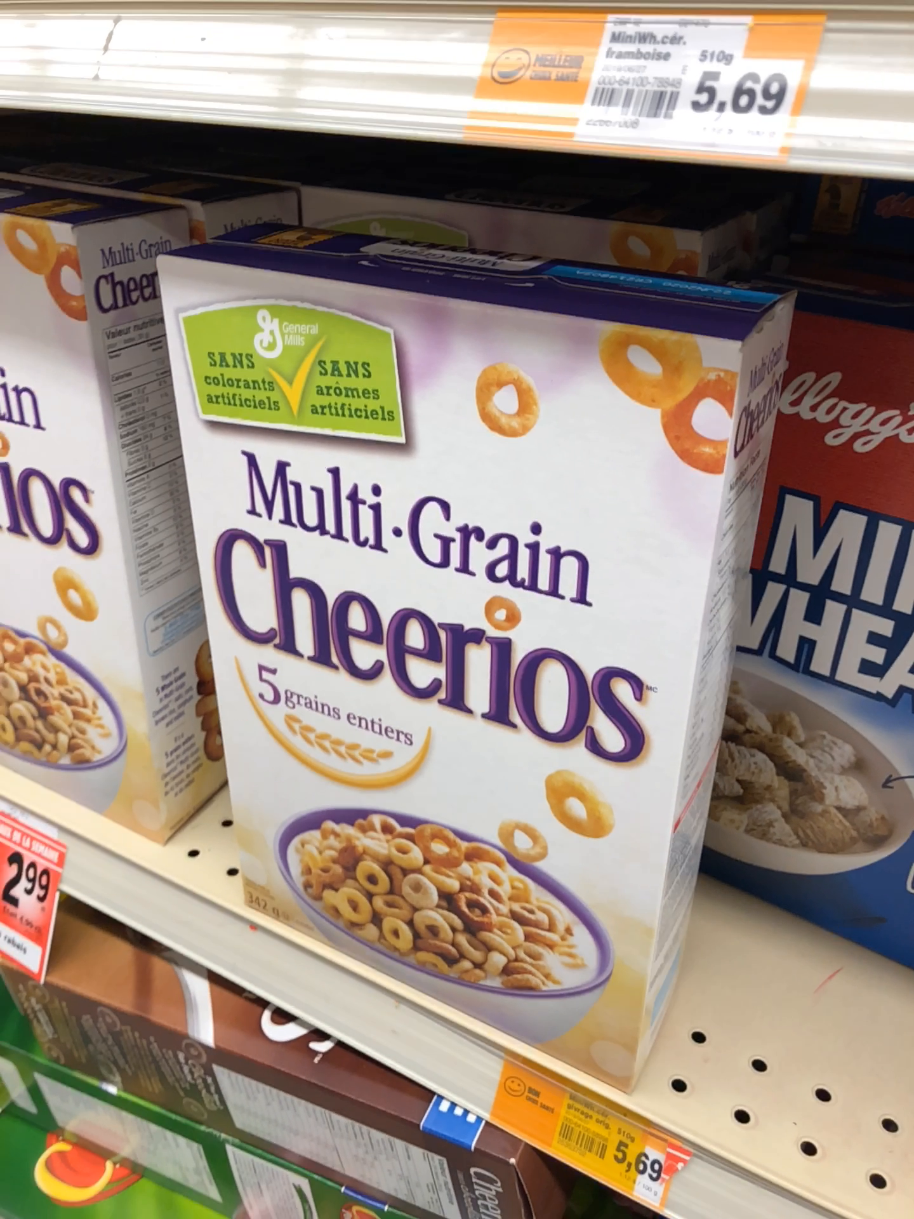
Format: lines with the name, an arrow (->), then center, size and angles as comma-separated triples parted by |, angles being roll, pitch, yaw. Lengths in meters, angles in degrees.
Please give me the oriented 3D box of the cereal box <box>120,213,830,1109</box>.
cereal box -> -0.004, 0.020, 0.361 | 0.200, 0.278, 0.060 | 17, 34, 25
